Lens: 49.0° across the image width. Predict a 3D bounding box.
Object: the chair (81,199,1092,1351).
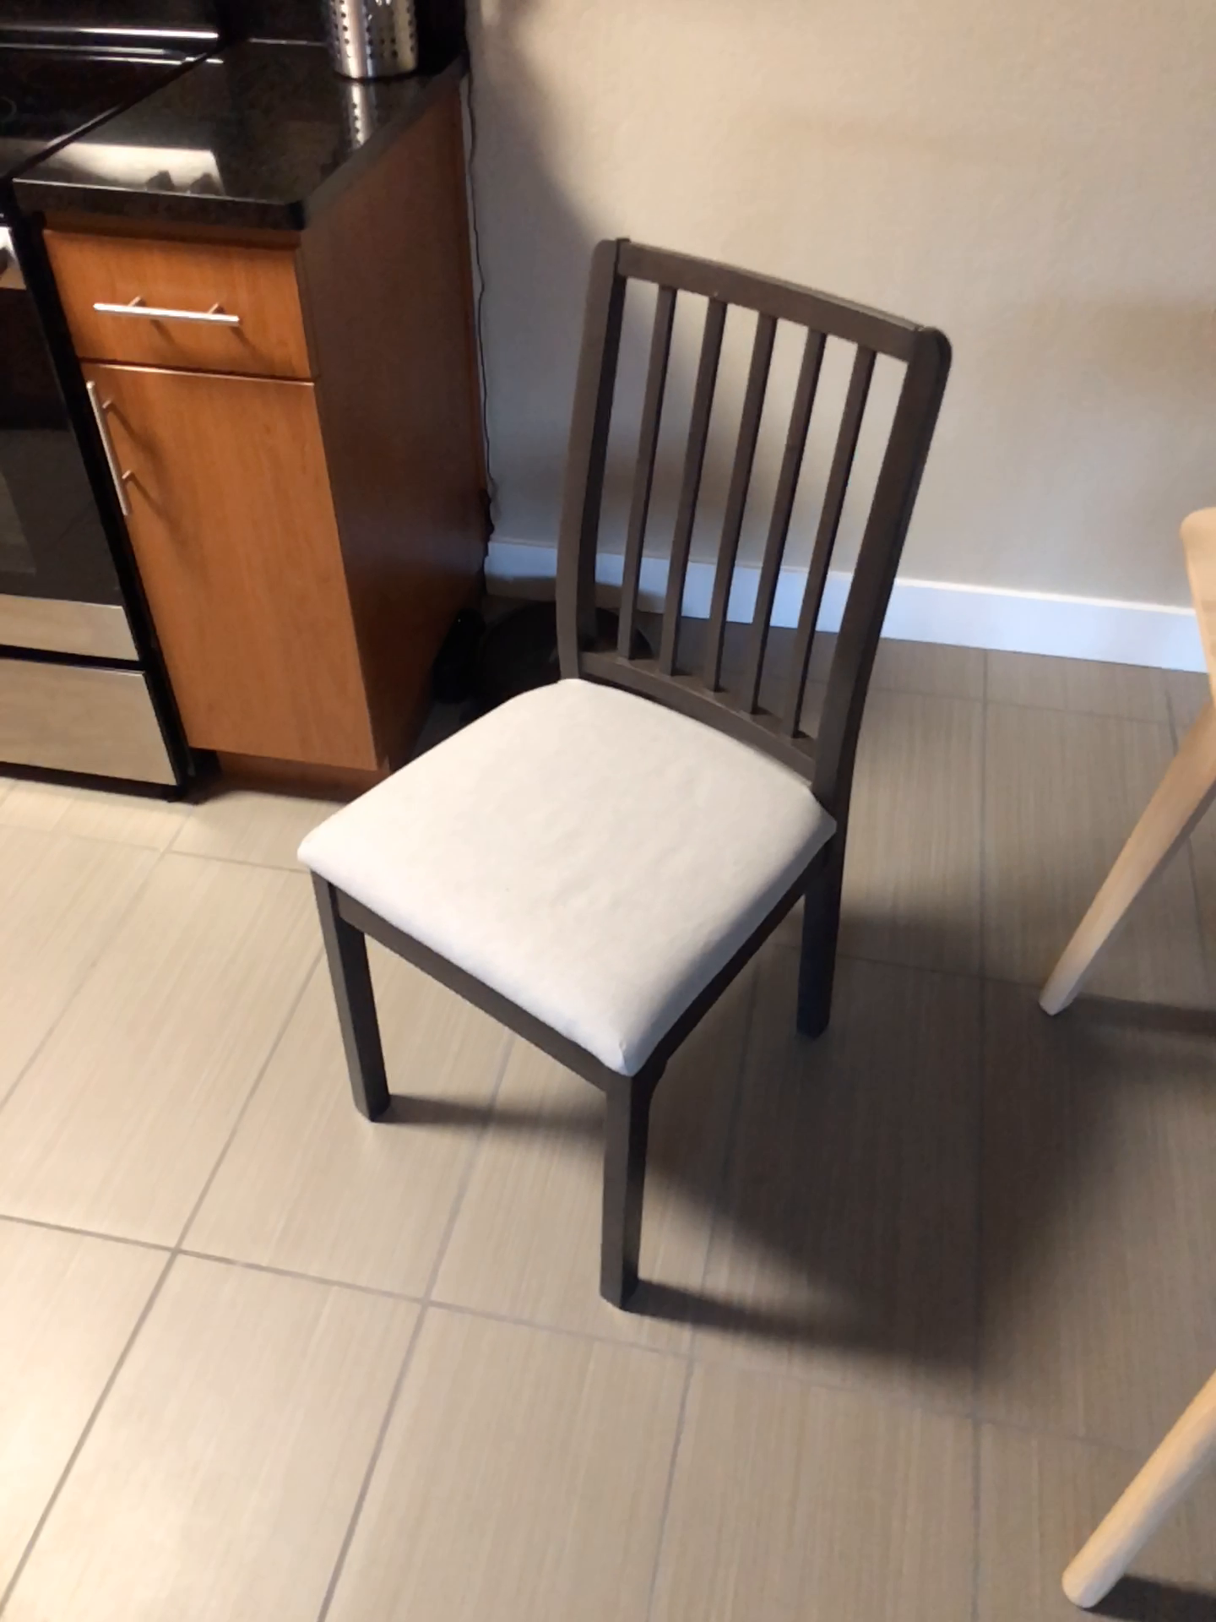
[{"bbox_3d":[-0.004,-0.047,1.368,0.581,0.846,0.592,28,49,28],"label":"chair"}]
